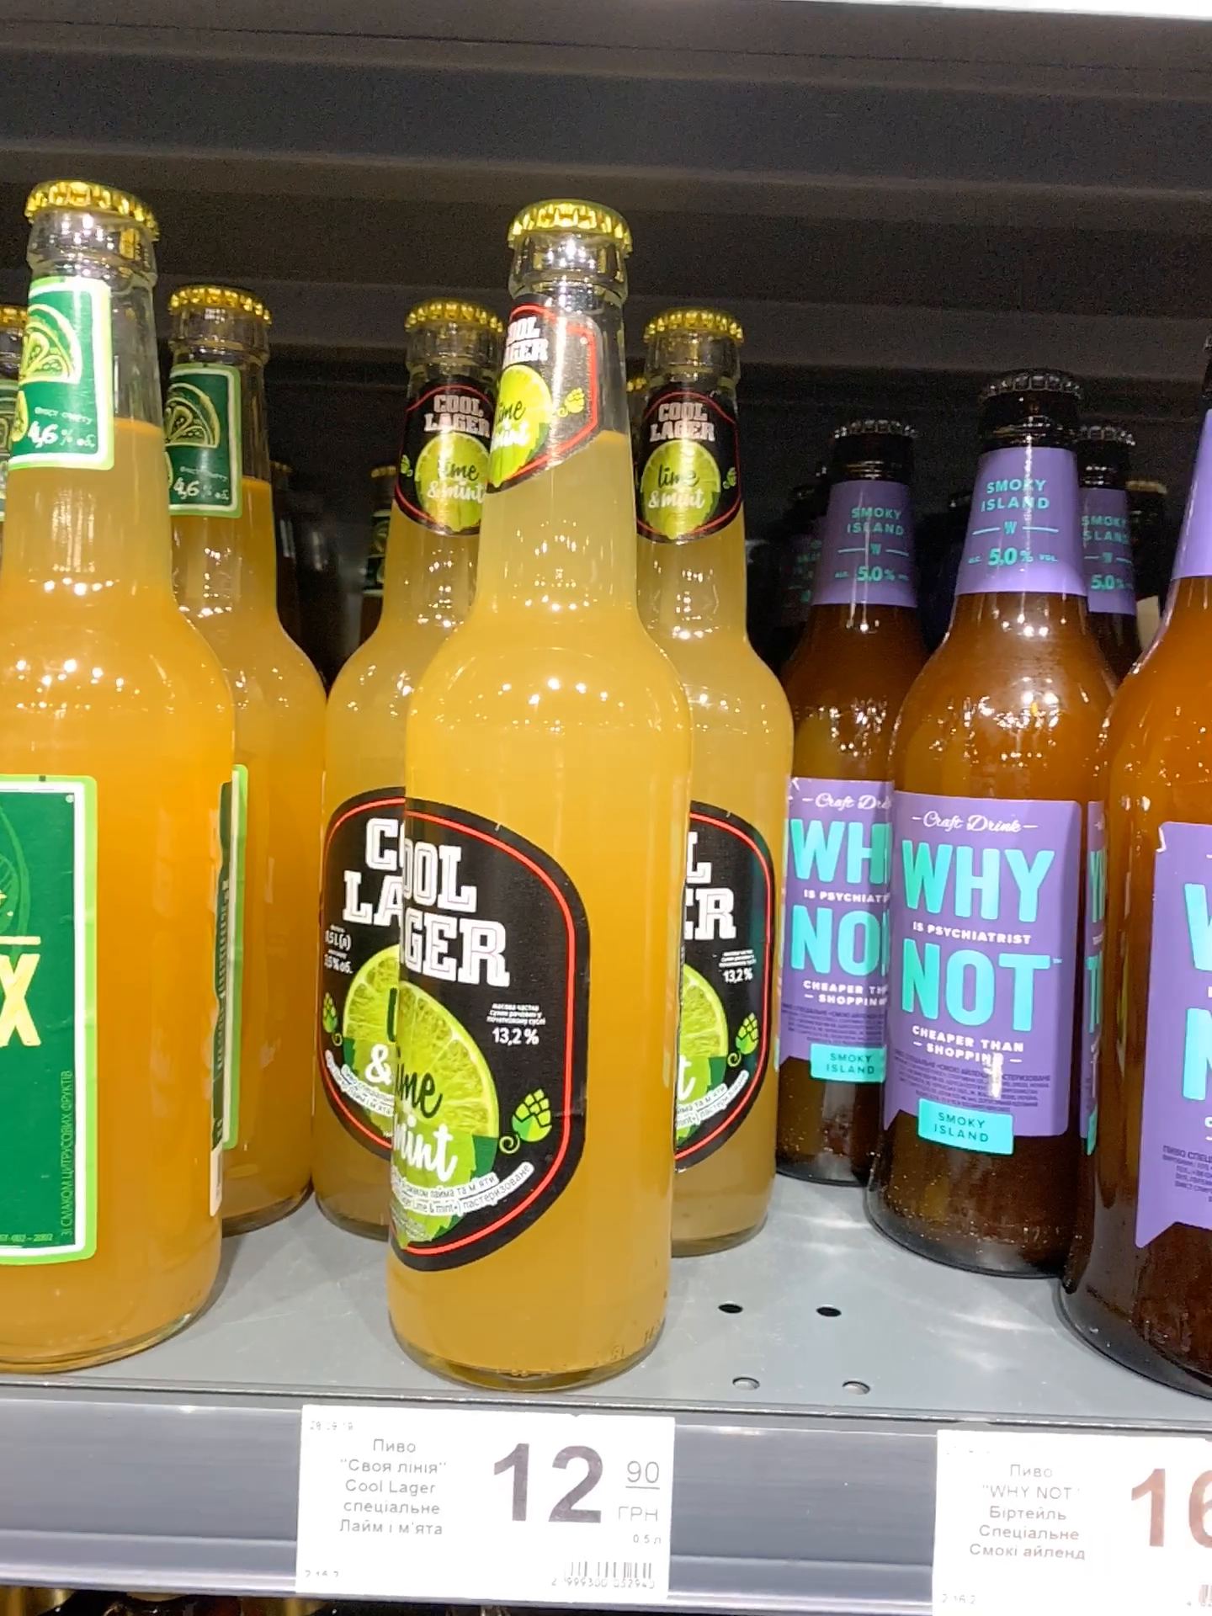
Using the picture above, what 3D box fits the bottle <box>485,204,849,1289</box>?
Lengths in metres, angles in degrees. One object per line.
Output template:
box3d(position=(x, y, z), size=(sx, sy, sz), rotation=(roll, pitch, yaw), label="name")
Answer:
box3d(position=(0.017, -0.015, 0.347), size=(0.063, 0.260, 0.069), rotation=(2, 4, 0), label="bottle")

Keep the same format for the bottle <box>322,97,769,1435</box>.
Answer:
box3d(position=(-0.014, -0.008, 0.275), size=(0.063, 0.244, 0.065), rotation=(2, 4, 0), label="bottle")

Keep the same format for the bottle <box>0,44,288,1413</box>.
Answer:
box3d(position=(-0.125, -0.015, 0.288), size=(0.078, 0.260, 0.064), rotation=(5, 5, 39), label="bottle")
